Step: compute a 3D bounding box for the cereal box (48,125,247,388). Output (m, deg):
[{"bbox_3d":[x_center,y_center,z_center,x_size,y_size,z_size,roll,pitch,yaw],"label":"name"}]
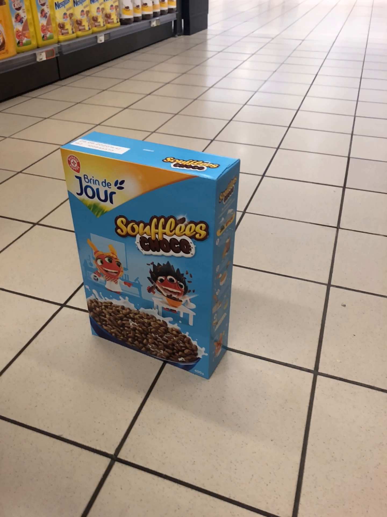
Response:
[{"bbox_3d":[-0.052,0.002,0.537,0.200,0.288,0.081,16,38,22],"label":"cereal box"}]
